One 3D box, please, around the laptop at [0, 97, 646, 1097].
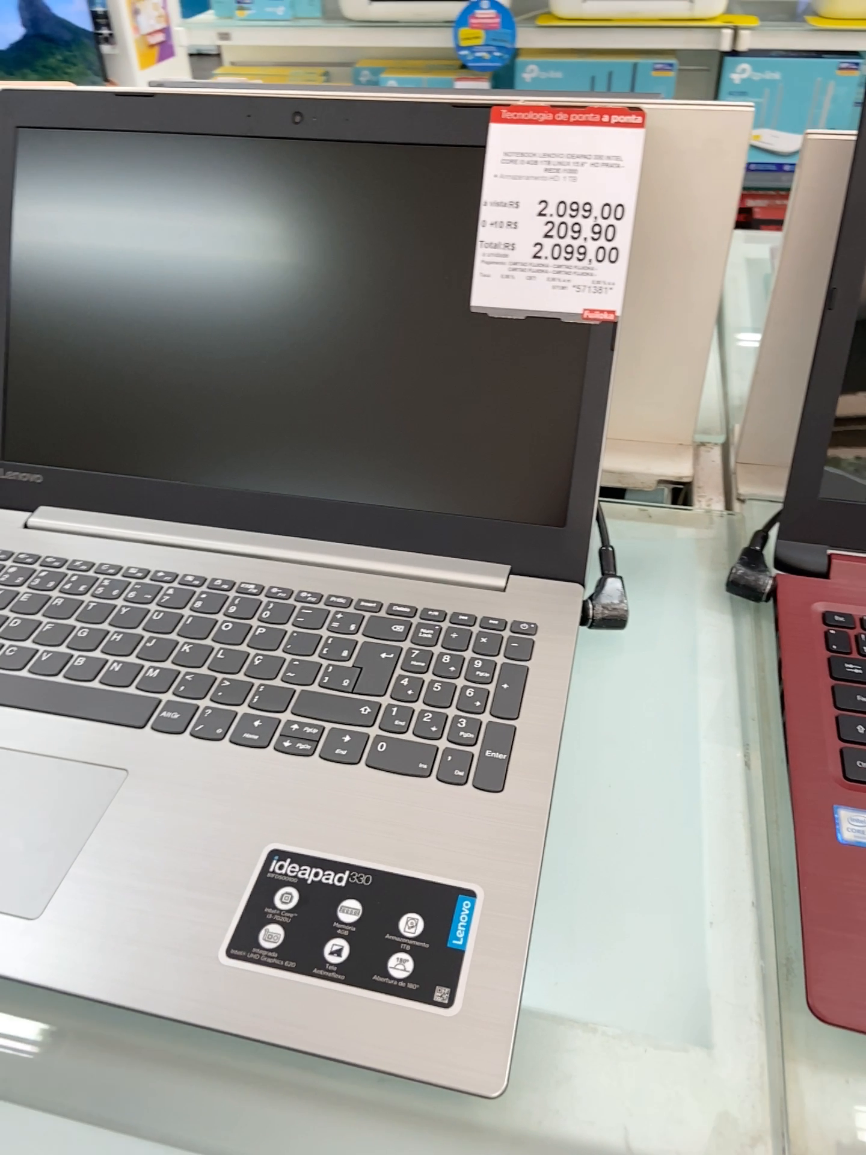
[{"bbox_3d":[-0.116,-0.059,0.400,0.370,0.194,0.391,7,41,12],"label":"laptop"}]
